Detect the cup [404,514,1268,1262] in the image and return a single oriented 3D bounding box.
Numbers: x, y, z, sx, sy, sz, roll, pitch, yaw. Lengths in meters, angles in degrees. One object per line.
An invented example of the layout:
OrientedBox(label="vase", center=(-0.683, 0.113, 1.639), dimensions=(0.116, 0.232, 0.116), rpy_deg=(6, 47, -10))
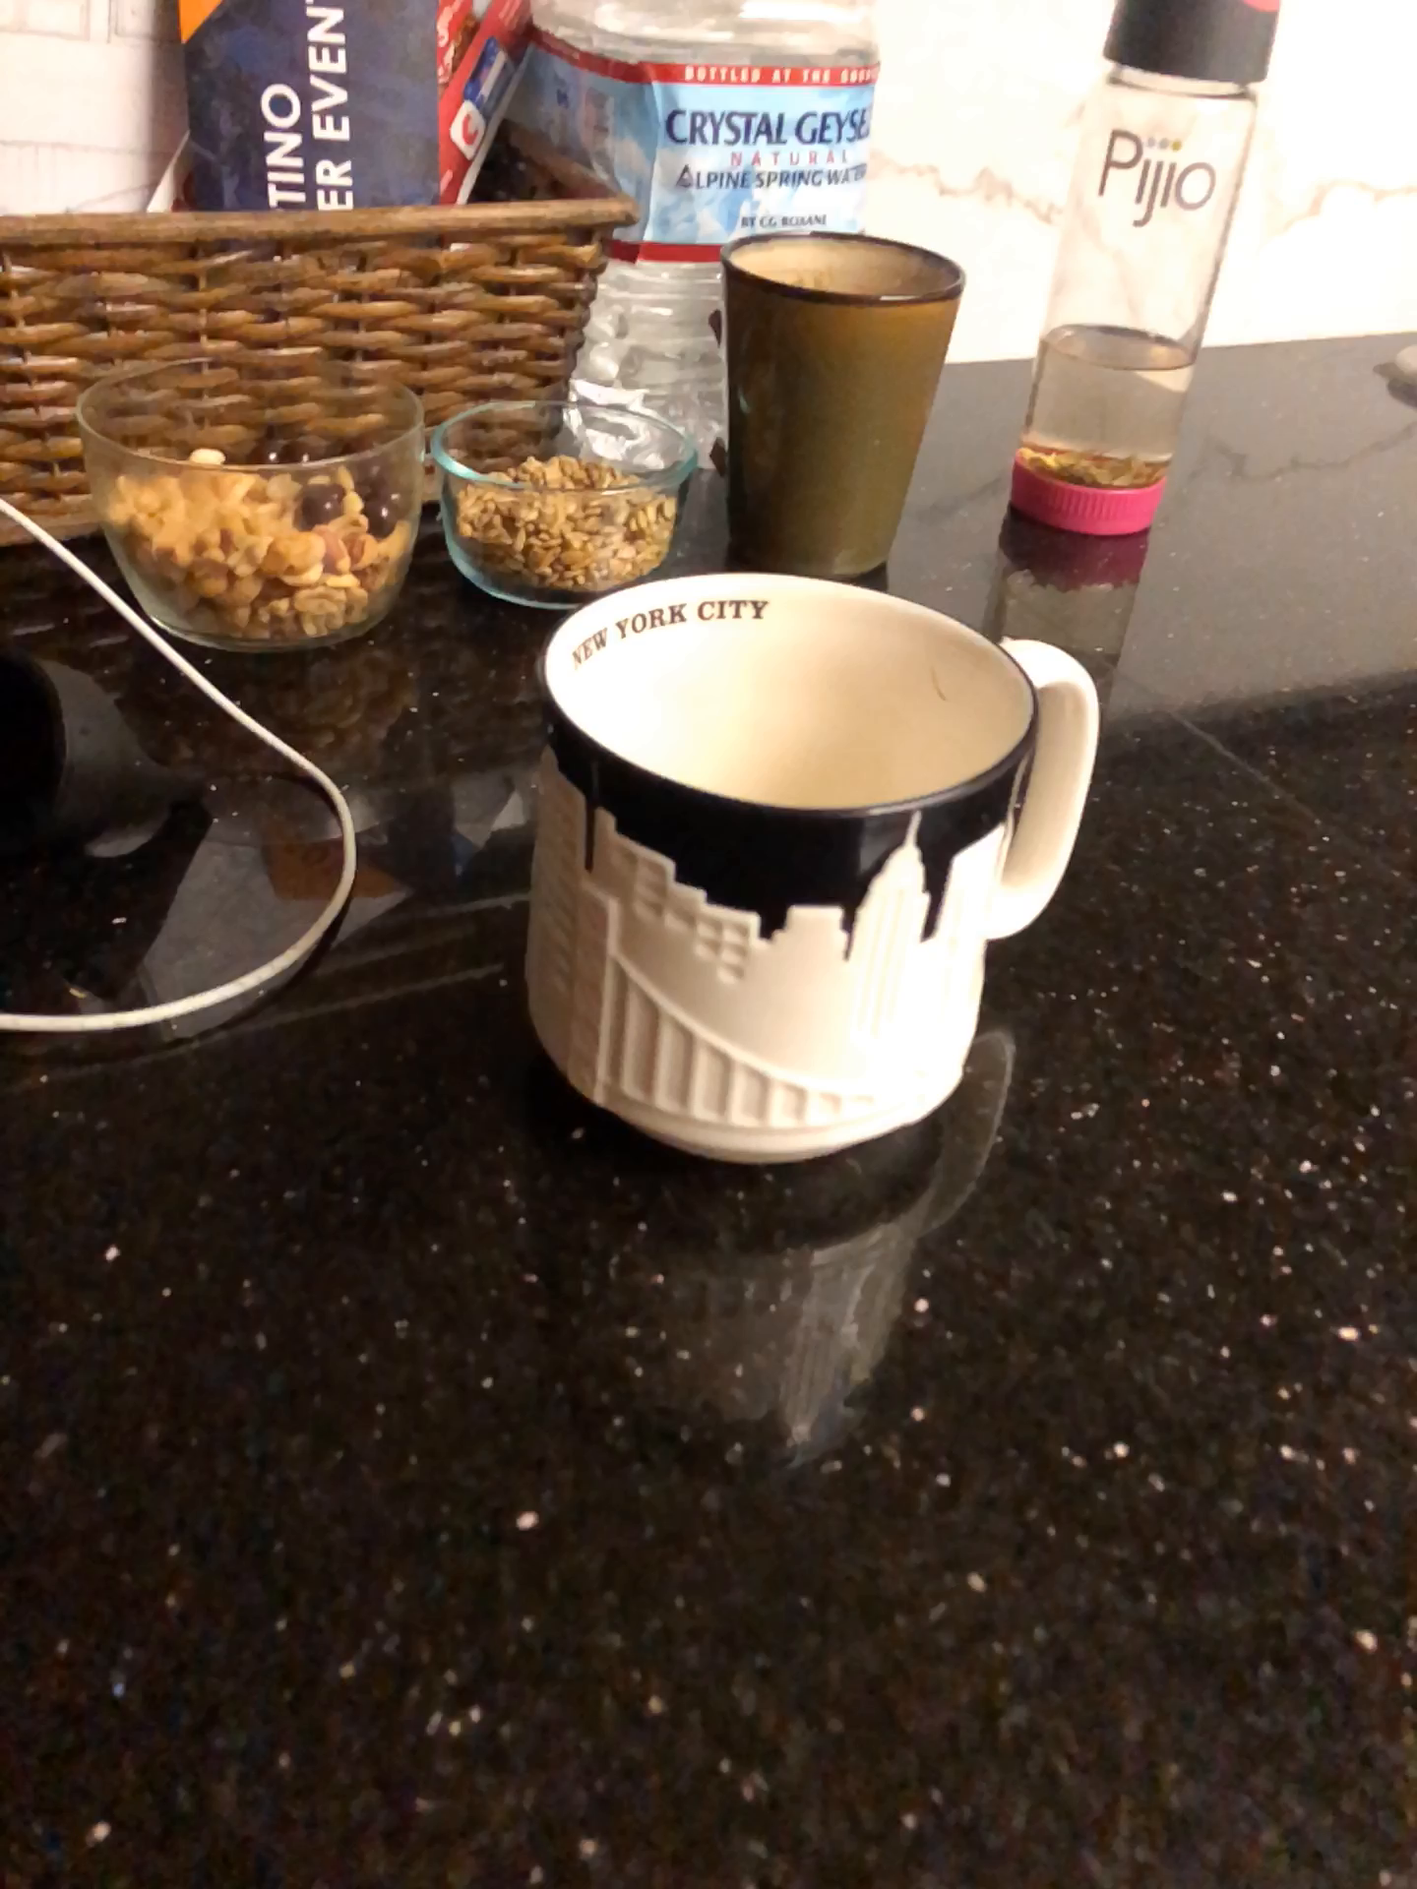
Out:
OrientedBox(label="cup", center=(0.026, -0.025, 0.358), dimensions=(0.150, 0.089, 0.110), rpy_deg=(-22, 44, -33))
